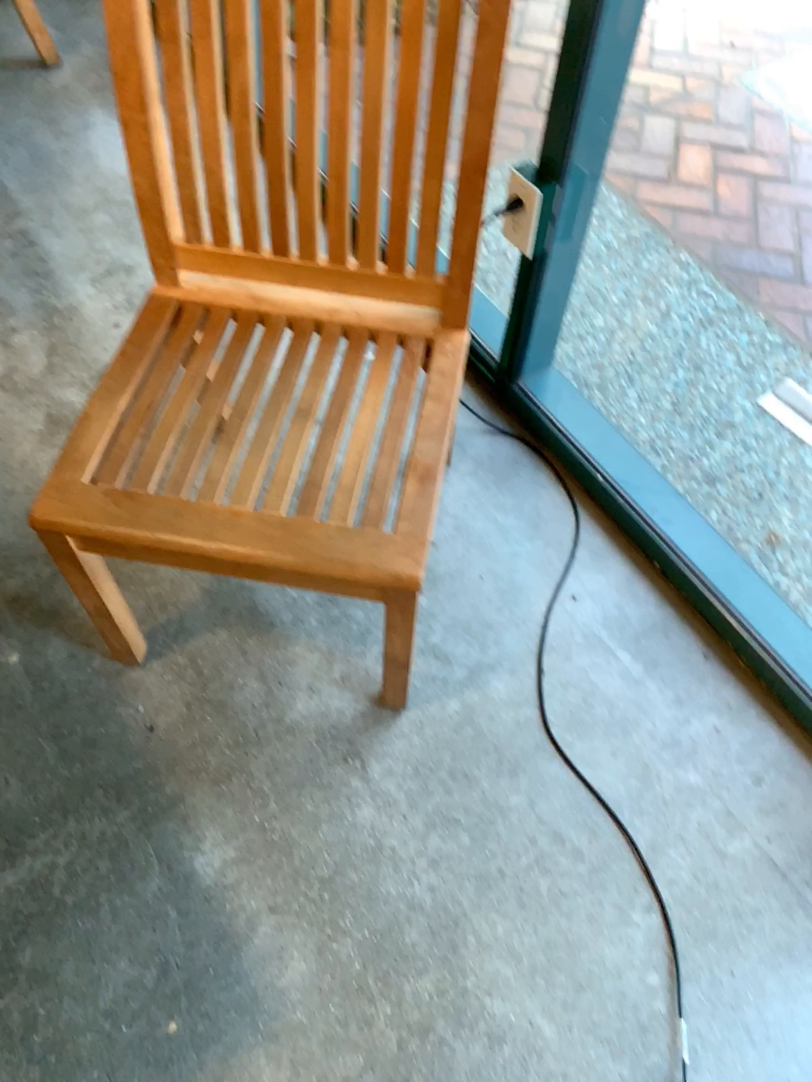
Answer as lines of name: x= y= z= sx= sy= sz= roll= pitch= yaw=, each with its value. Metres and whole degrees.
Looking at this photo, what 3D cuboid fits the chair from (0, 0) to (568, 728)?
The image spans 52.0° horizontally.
chair: x=-0.170 y=-0.253 z=1.091 sx=0.530 sy=0.917 sz=0.612 roll=10 pitch=58 yaw=4
